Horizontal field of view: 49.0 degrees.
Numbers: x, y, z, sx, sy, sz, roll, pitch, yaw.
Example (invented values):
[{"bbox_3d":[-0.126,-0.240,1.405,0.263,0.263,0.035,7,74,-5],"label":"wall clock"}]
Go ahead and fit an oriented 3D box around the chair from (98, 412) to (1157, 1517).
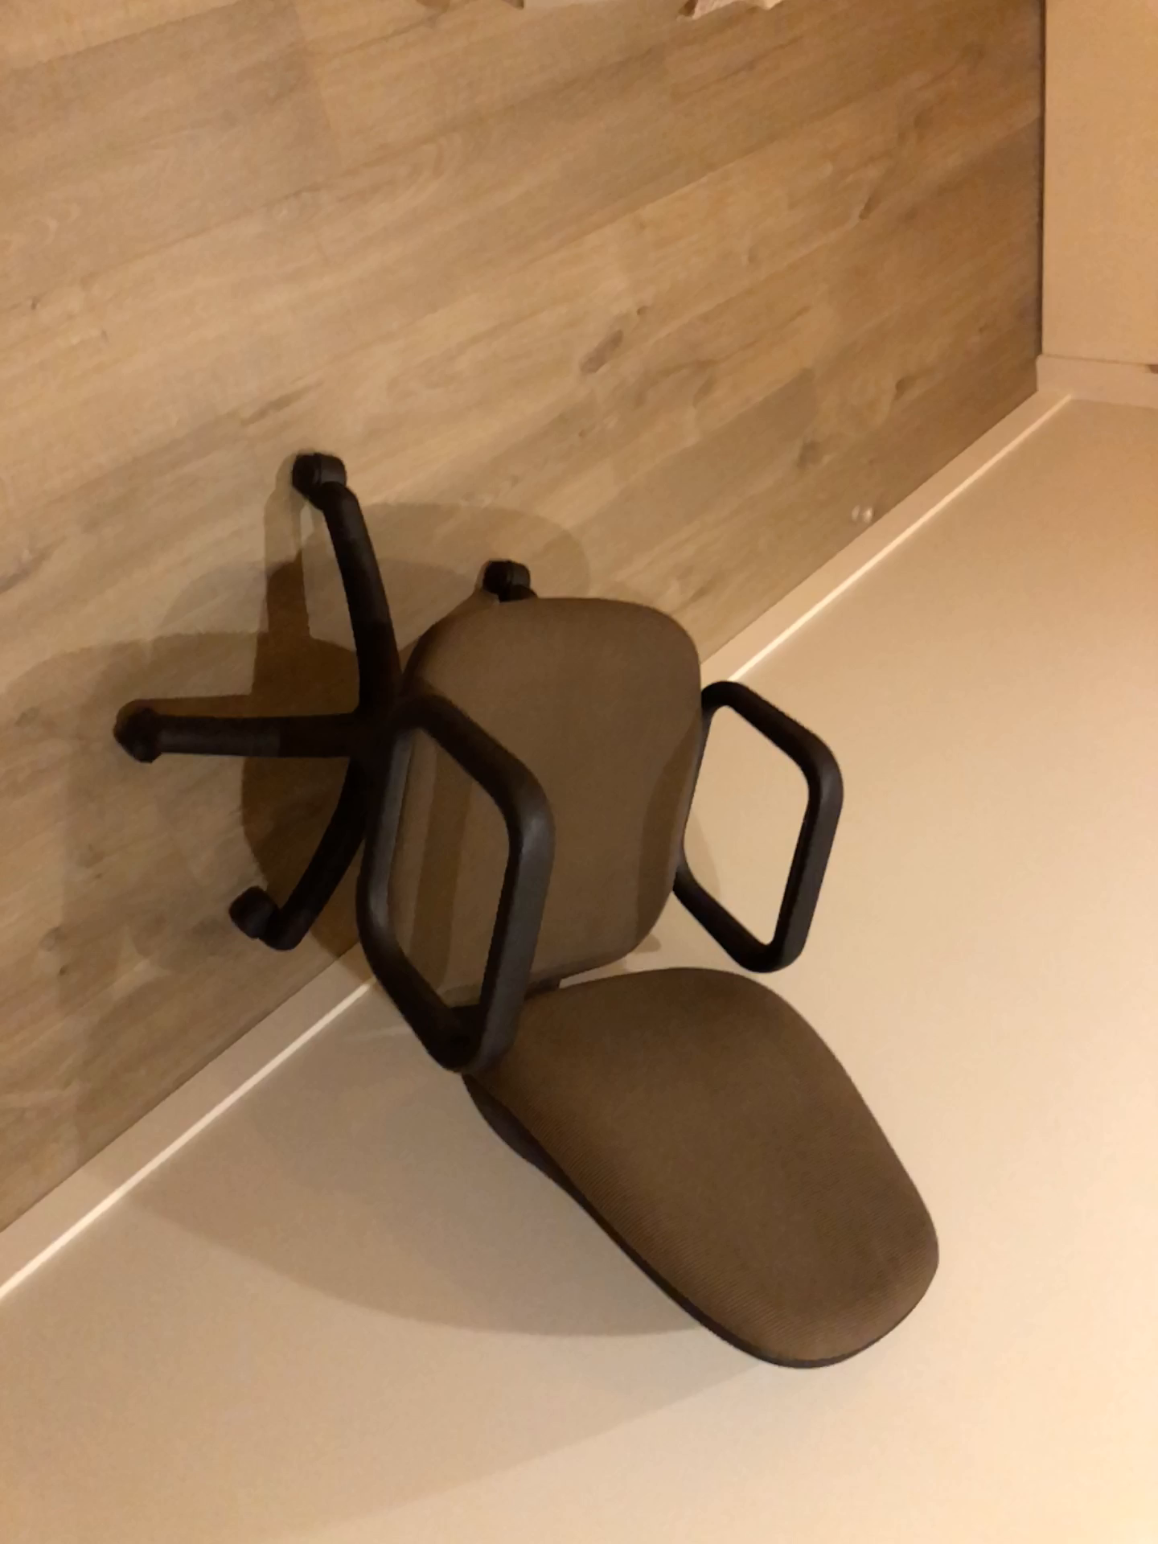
[{"bbox_3d":[0.013,0.060,1.419,0.633,0.975,0.710,-7,113,-46],"label":"chair"}]
